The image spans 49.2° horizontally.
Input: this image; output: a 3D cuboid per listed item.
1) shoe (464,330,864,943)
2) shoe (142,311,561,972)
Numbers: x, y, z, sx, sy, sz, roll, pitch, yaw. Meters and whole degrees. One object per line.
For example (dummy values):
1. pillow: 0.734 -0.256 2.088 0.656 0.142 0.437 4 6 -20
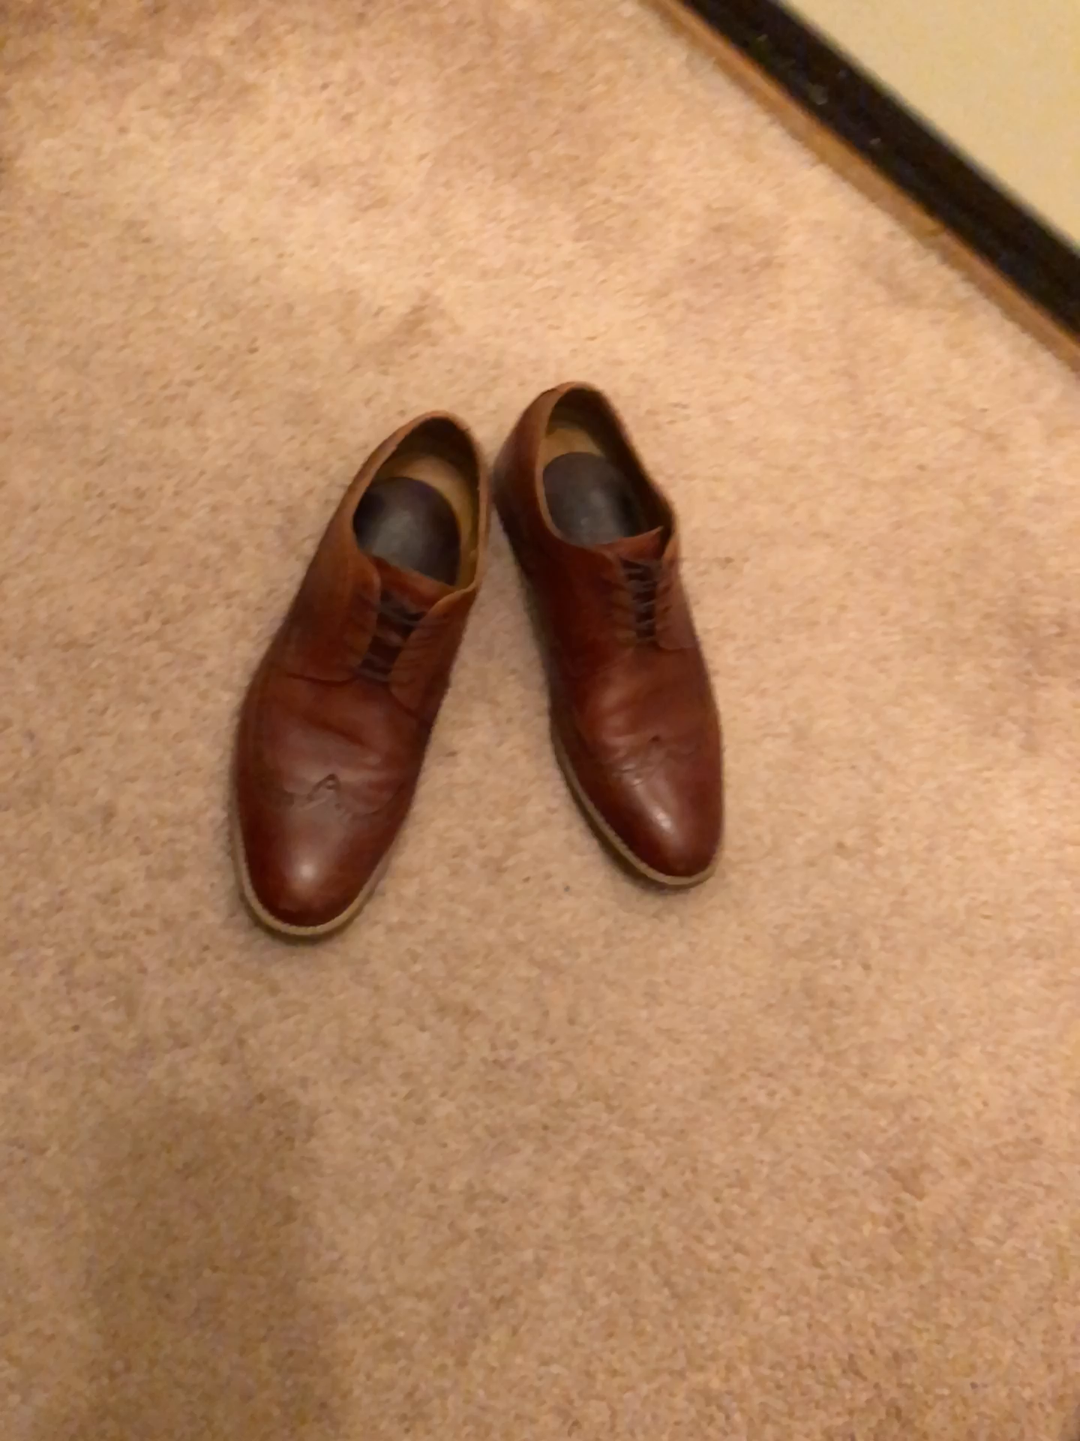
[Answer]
1. shoe: 0.057 -0.048 0.663 0.115 0.115 0.310 -10 75 -17
2. shoe: -0.094 -0.040 0.627 0.115 0.115 0.311 18 69 -8
